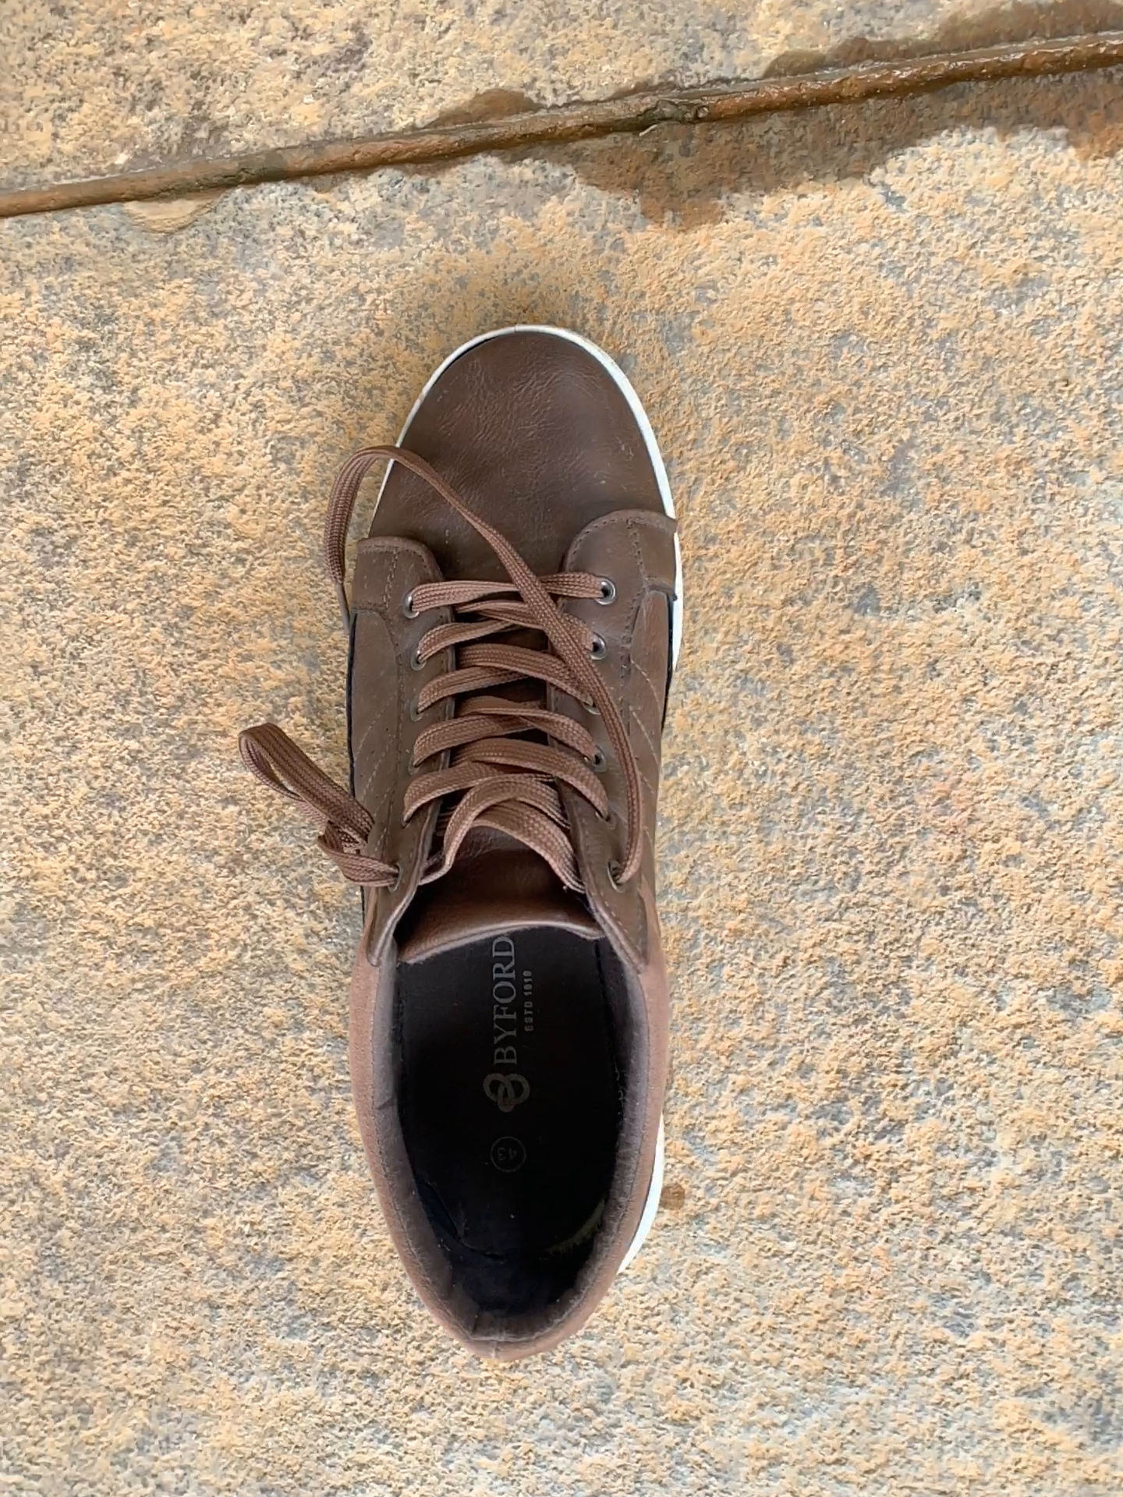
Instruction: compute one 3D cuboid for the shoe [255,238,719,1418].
[{"bbox_3d":[-0.018,0.020,0.342,0.110,0.080,0.300,-3,86,10],"label":"shoe"}]
